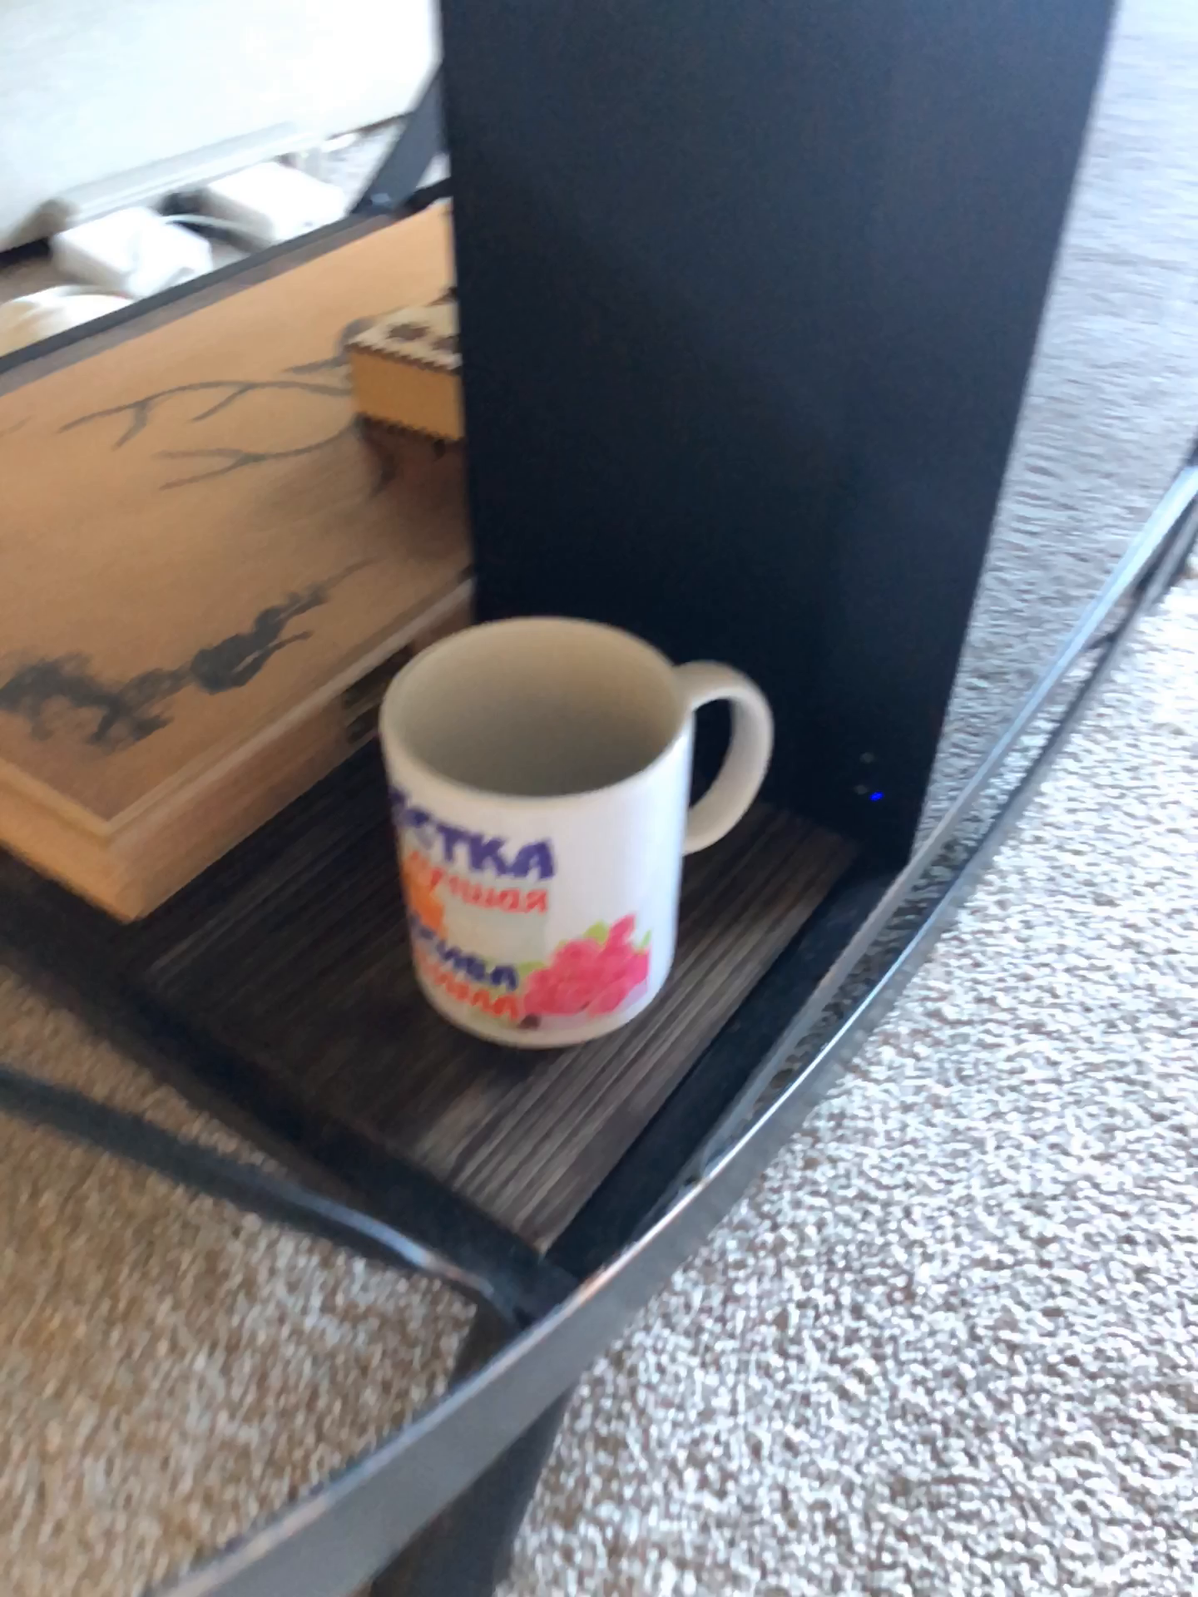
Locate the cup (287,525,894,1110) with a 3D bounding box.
[{"bbox_3d":[-0.003,0.001,0.395,0.140,0.100,0.090,-22,47,-24],"label":"cup"}]
